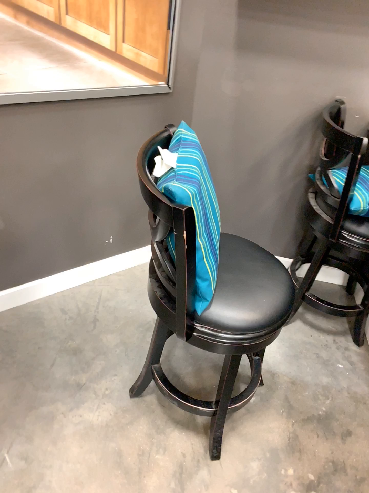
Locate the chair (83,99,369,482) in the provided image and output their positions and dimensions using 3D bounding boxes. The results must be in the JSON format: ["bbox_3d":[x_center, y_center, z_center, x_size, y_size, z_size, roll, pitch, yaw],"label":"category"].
[{"bbox_3d":[0.103,0.148,1.120,0.595,0.903,0.538,12,36,4],"label":"chair"}]

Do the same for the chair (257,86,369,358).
[{"bbox_3d":[0.718,-0.090,1.615,0.595,0.923,0.538,12,36,4],"label":"chair"}]
